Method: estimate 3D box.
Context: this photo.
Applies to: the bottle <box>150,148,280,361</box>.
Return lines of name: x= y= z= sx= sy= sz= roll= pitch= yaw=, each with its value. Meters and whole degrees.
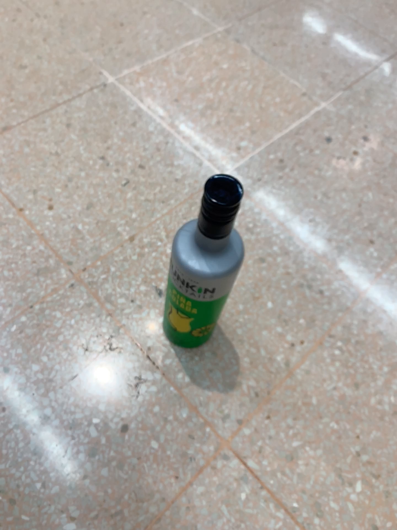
bottle: x=-0.001 y=0.014 z=0.448 sx=0.074 sy=0.285 sz=0.067 roll=3 pitch=61 yaw=-6
